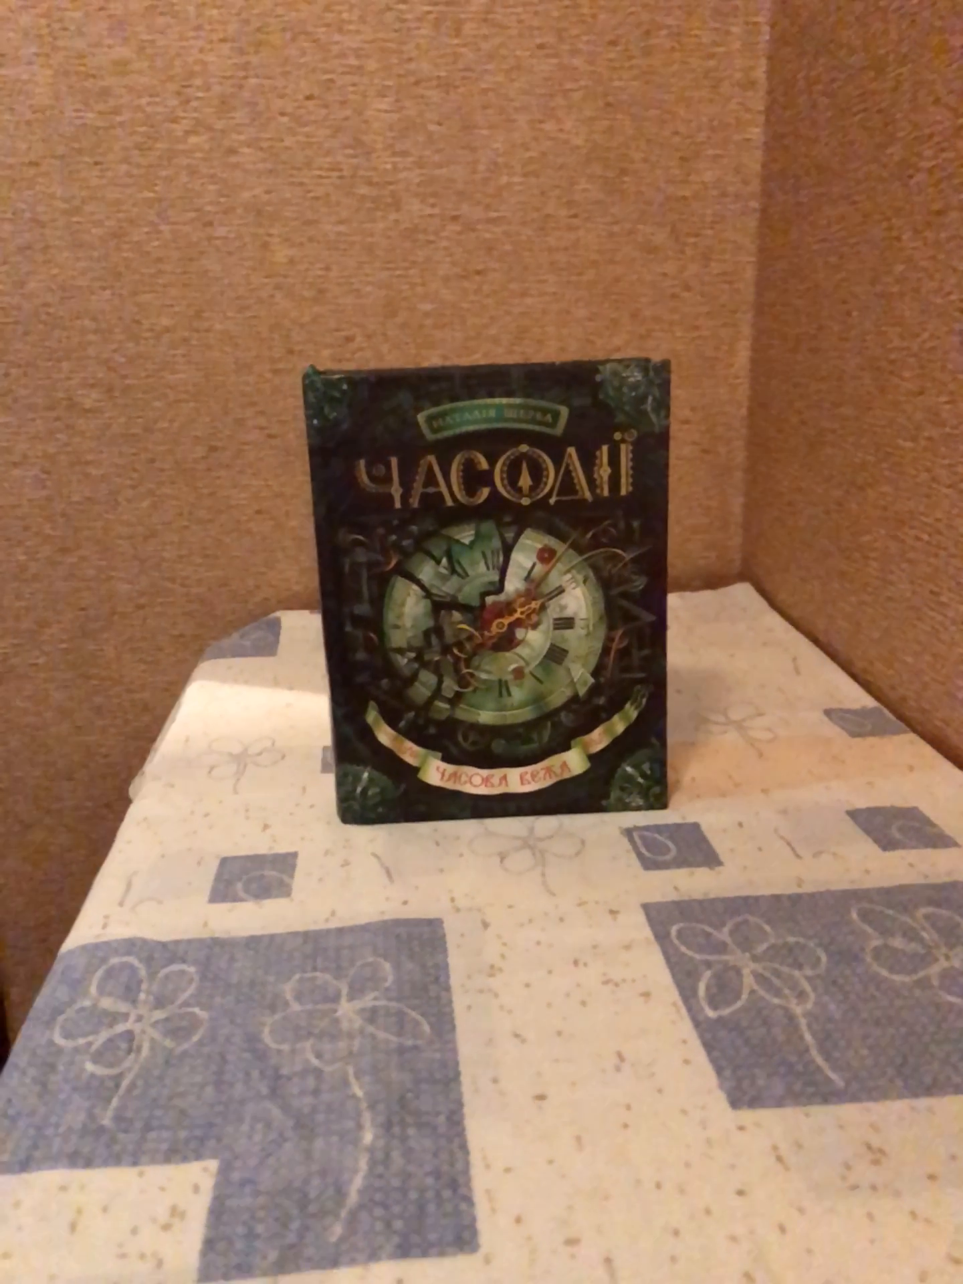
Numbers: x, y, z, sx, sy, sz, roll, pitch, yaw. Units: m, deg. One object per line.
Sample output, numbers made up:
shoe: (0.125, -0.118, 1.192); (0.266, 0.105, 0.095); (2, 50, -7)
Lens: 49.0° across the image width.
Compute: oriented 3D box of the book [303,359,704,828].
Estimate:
book: (0.010, -0.021, 0.502); (0.173, 0.216, 0.040); (-1, 15, -1)
